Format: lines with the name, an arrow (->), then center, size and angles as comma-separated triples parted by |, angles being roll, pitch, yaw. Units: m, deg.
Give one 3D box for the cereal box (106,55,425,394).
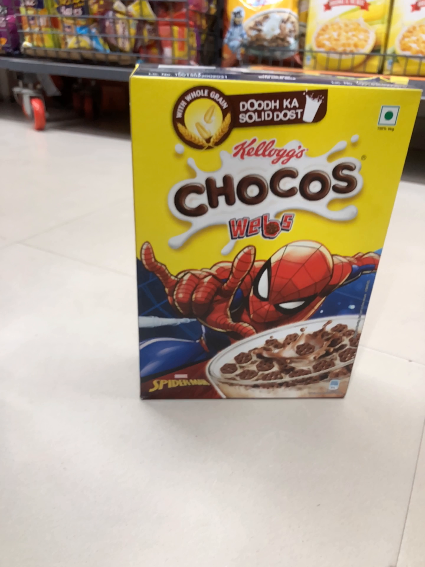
cereal box -> 0.031, -0.034, 0.349 | 0.190, 0.229, 0.080 | 1, 29, -4
